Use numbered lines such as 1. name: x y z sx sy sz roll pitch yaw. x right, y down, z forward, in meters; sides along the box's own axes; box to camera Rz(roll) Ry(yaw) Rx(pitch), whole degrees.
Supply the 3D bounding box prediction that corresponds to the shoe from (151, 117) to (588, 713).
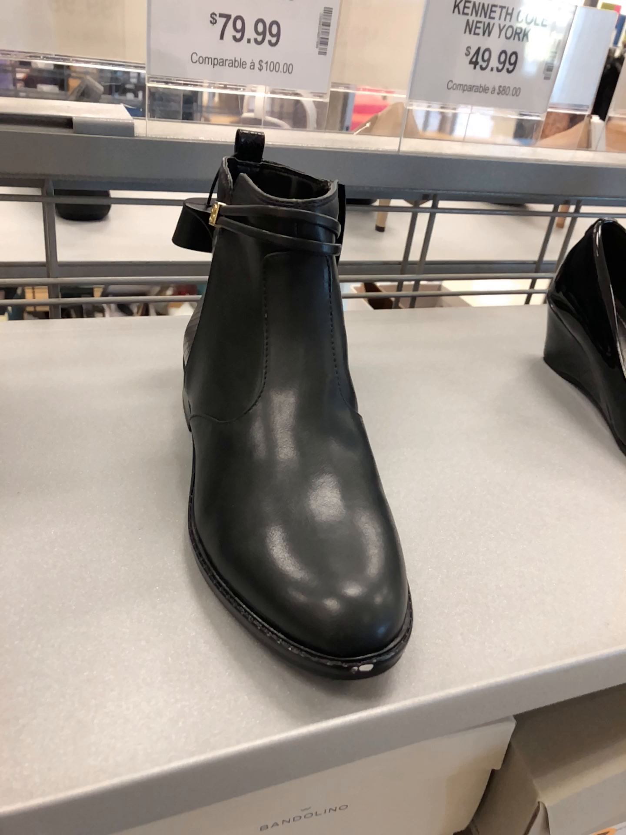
1. shoe: -0.011 -0.026 0.306 0.090 0.149 0.232 -3 34 -19
